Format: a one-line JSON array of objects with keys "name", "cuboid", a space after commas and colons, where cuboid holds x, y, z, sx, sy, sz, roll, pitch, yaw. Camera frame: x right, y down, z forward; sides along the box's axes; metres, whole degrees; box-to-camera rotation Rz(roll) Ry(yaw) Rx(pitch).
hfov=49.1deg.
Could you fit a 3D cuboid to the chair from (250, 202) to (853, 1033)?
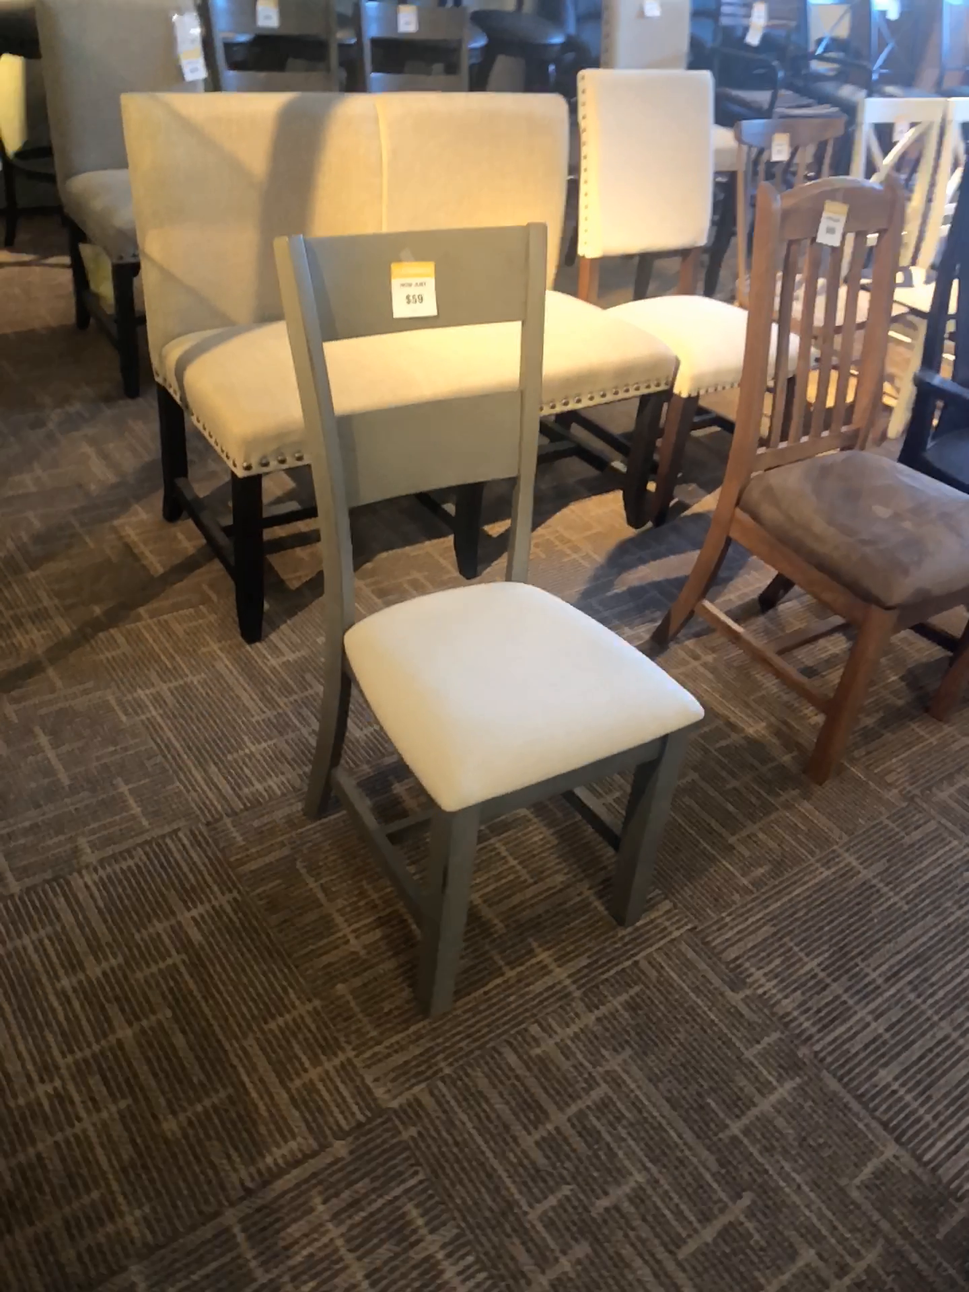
[{"name": "chair", "cuboid": [-0.007, -0.053, 1.569, 0.461, 0.965, 0.632, -15, 43, -30]}]
